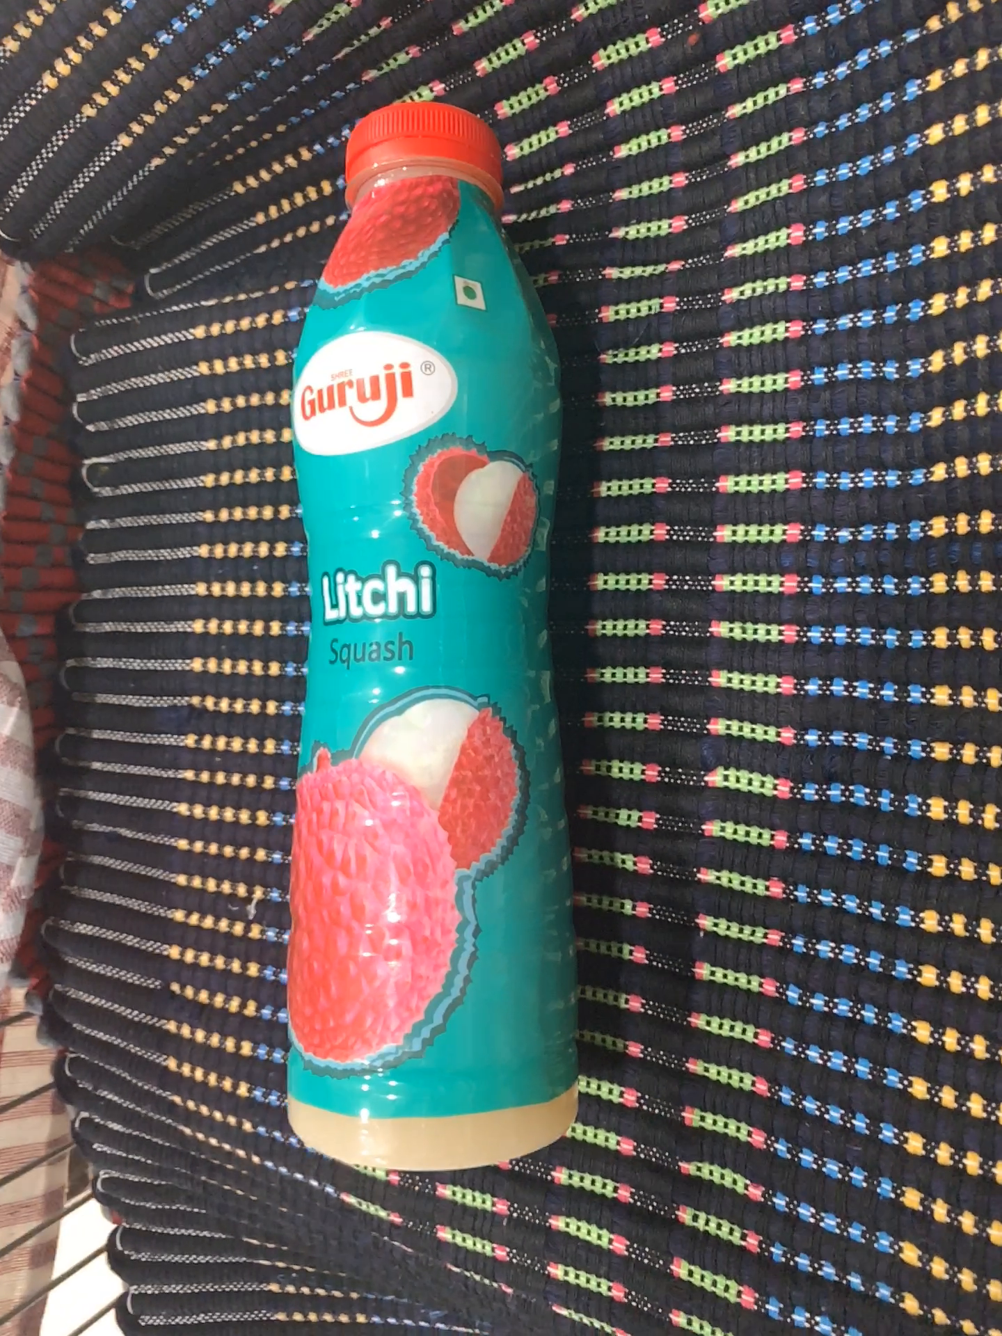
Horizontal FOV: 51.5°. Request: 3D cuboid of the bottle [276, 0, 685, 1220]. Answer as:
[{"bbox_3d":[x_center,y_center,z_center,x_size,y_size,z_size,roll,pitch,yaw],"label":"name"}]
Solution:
[{"bbox_3d":[0.000,-0.024,0.273,0.070,0.080,0.280,-4,81,27],"label":"bottle"}]
